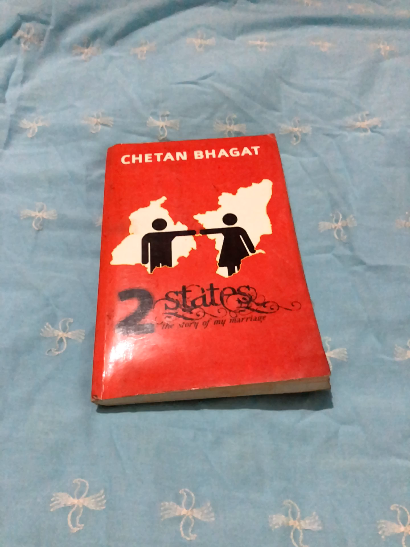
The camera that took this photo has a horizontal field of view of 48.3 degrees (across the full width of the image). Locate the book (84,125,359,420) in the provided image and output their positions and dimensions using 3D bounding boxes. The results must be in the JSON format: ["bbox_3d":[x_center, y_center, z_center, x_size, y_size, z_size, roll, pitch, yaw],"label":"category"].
[{"bbox_3d":[0.002,-0.015,0.299,0.140,0.030,0.201,-4,57,-3],"label":"book"}]
